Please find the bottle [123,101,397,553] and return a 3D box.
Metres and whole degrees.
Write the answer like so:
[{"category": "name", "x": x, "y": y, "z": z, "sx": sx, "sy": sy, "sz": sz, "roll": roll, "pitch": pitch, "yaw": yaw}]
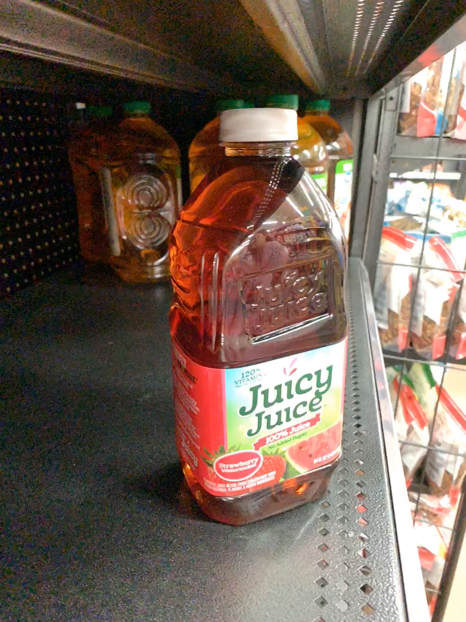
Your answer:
[{"category": "bottle", "x": 0.012, "y": 0.005, "z": 0.316, "sx": 0.125, "sy": 0.255, "sz": 0.090, "roll": -10, "pitch": 23, "yaw": -26}]
